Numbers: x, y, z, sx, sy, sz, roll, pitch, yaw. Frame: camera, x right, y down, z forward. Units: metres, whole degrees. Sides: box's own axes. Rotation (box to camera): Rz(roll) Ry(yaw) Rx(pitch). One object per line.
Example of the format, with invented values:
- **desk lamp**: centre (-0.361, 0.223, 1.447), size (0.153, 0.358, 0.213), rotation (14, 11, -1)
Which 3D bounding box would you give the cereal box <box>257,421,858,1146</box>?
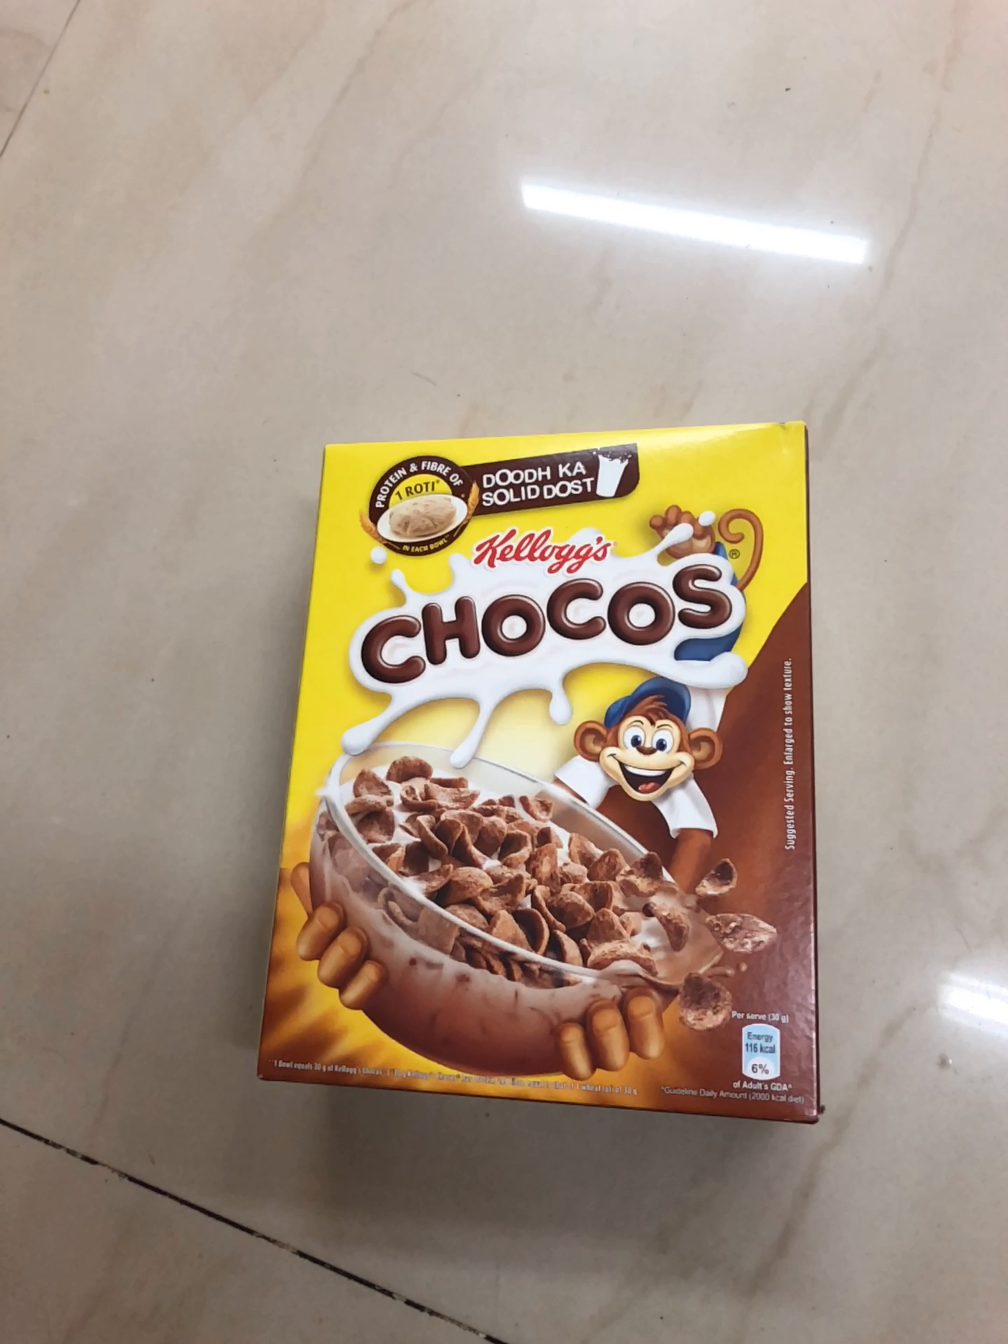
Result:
- **cereal box**: centre (0.018, 0.024, 0.300), size (0.140, 0.050, 0.170), rotation (1, 78, 11)
